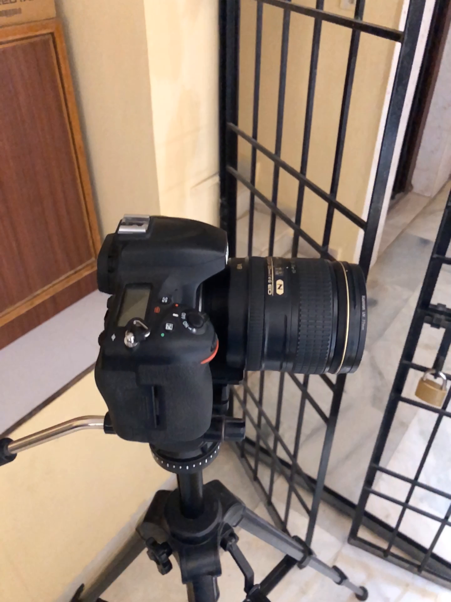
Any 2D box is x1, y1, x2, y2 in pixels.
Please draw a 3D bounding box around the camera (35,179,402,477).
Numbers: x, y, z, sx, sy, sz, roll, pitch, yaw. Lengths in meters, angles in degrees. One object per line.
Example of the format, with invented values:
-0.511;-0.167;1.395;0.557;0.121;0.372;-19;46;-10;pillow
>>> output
0.000;0.006;0.332;0.171;0.104;0.171;2;38;2;camera
